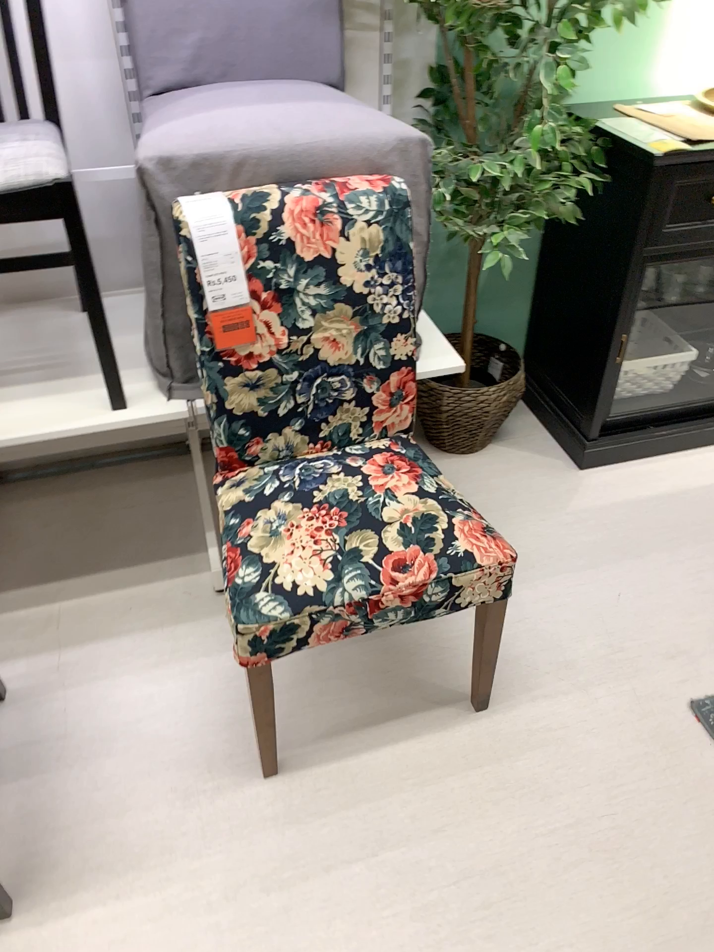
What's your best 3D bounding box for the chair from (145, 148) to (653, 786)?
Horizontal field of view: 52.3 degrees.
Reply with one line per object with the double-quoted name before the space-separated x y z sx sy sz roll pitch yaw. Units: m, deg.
"chair" 0.002 -0.020 1.312 0.560 0.886 0.603 -10 40 -12
